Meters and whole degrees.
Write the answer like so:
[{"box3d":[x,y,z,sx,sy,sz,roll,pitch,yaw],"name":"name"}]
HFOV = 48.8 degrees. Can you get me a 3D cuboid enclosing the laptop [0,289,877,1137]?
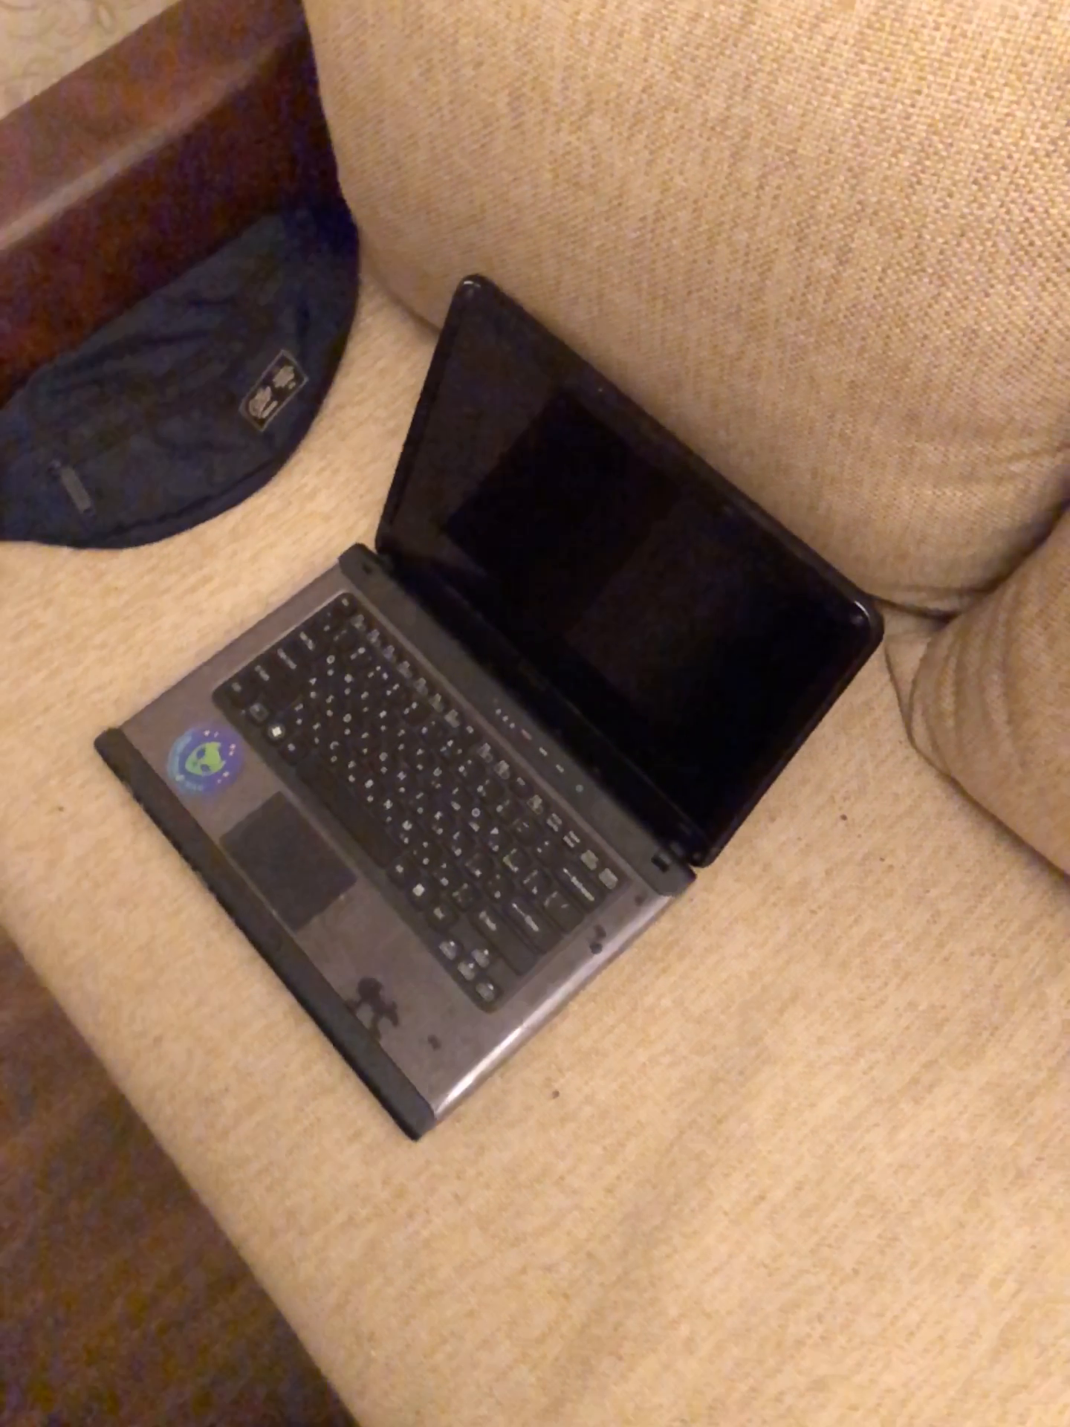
[{"box3d":[-0.059,-0.007,0.706,0.349,0.175,0.338,-41,70,-14],"name":"laptop"}]
